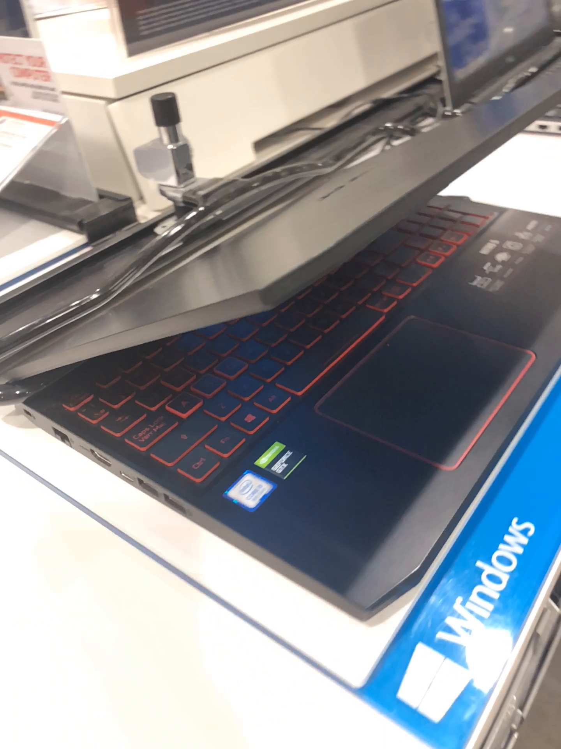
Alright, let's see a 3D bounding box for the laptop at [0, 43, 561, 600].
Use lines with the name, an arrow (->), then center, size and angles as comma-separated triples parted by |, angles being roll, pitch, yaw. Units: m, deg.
laptop -> 0.048, -0.087, 0.360 | 0.219, 0.121, 0.344 | 22, 44, 30
